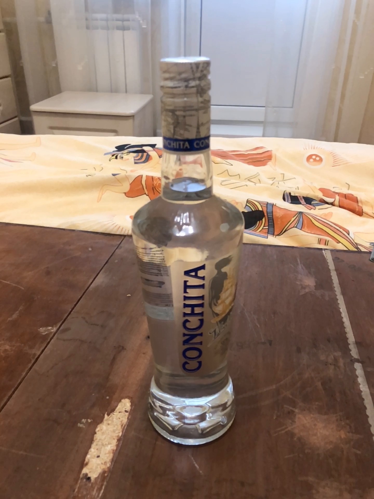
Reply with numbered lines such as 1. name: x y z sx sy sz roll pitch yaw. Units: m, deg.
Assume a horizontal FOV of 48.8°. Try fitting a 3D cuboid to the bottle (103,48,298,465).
1. bottle: 0.003 0.015 0.284 0.077 0.273 0.076 0 29 0
